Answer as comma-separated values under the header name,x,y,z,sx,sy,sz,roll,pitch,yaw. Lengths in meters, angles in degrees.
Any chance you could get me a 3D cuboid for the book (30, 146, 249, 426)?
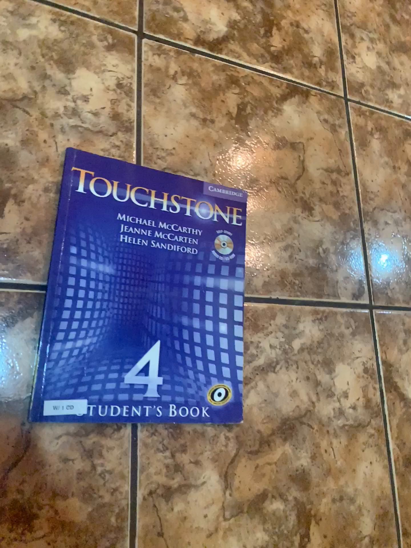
name,x,y,z,sx,sy,sz,roll,pitch,yaw
book,-0.051,0.015,0.448,0.219,0.010,0.275,8,74,-23
